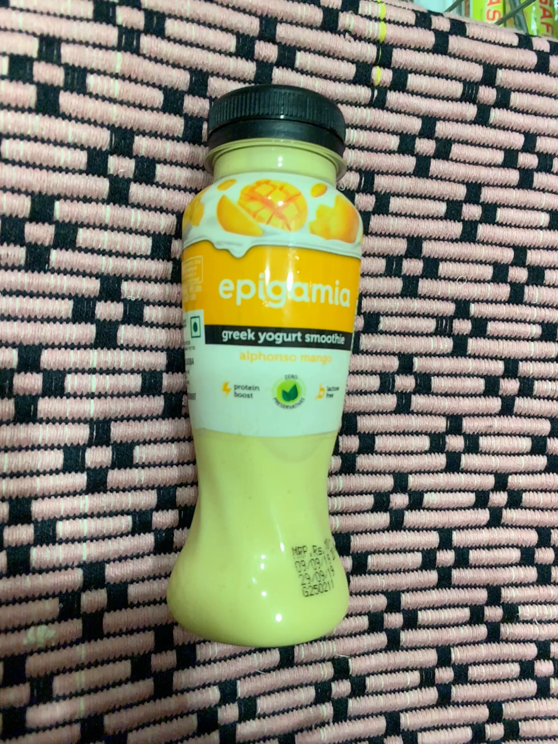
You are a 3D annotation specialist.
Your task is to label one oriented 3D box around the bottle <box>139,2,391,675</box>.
[{"bbox_3d":[-0.008,-0.009,0.173,0.060,0.060,0.160,-1,89,-10],"label":"bottle"}]
